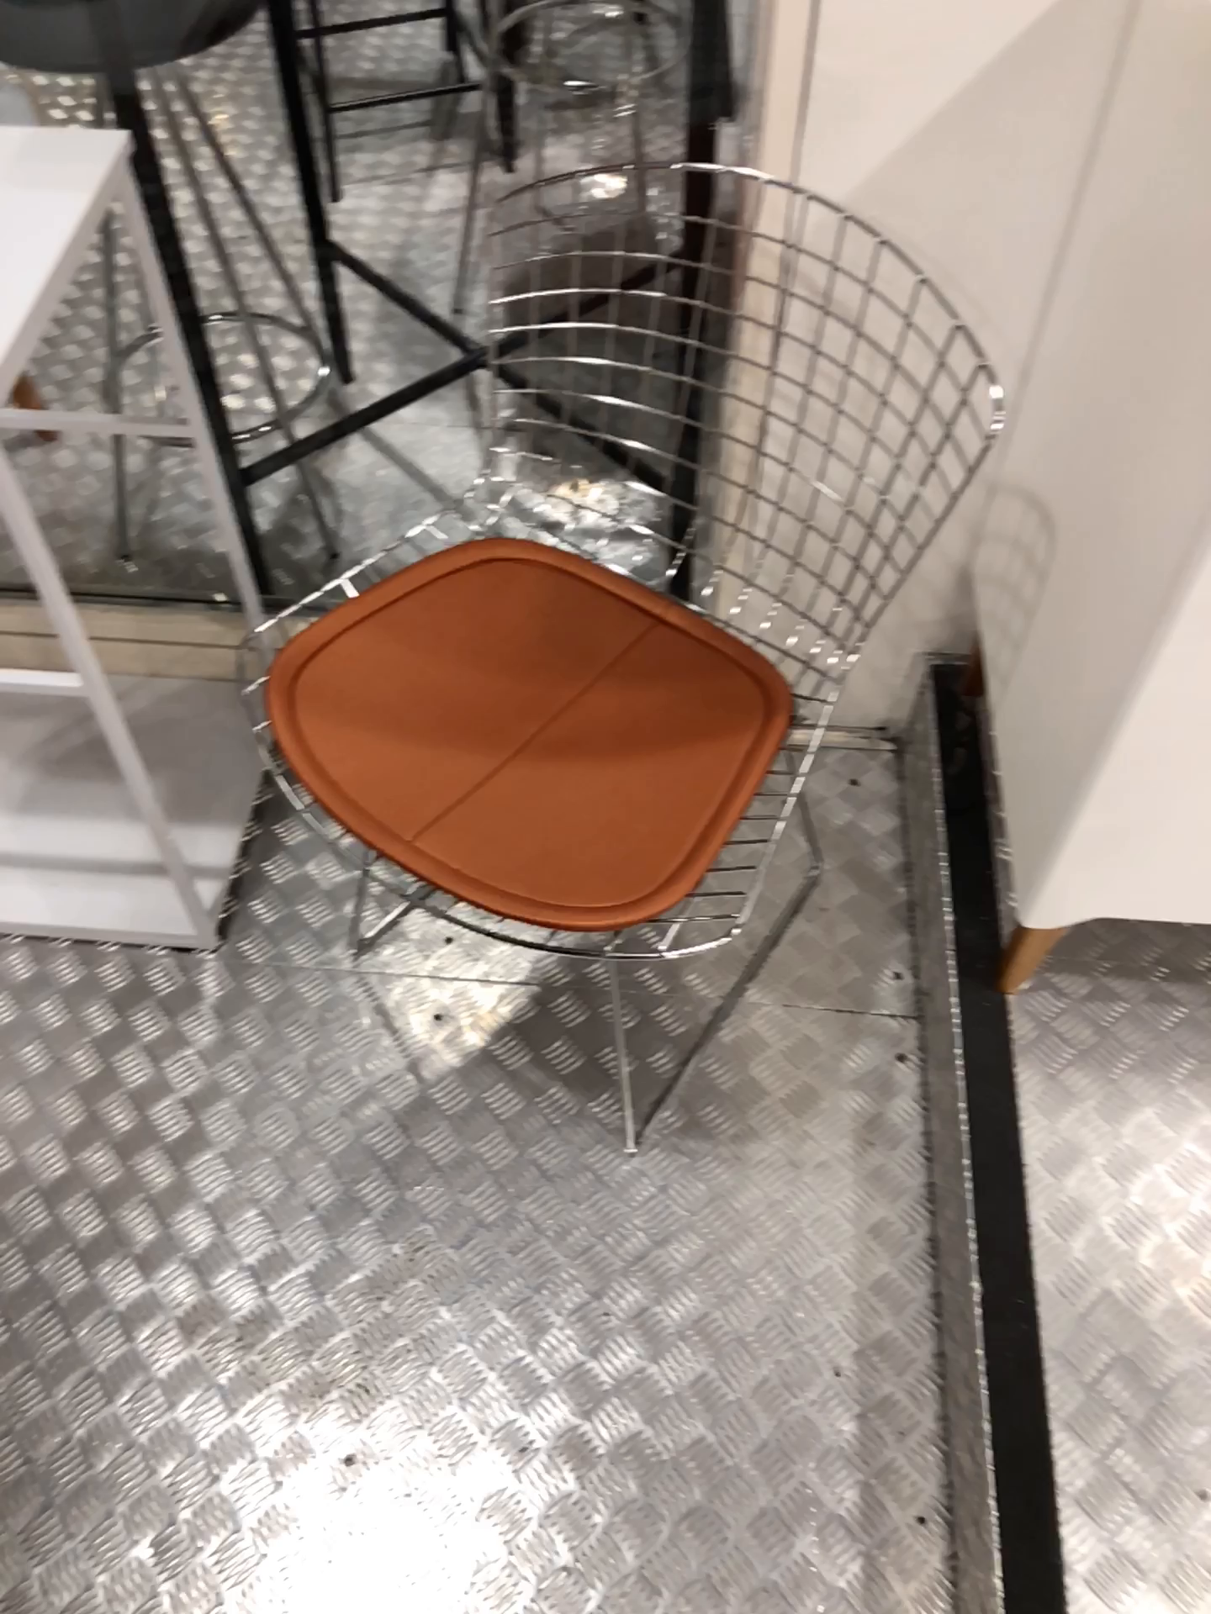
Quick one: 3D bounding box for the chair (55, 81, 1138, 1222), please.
[{"bbox_3d":[0.011,-0.127,1.241,0.551,0.706,0.572,30,58,21],"label":"chair"}]
